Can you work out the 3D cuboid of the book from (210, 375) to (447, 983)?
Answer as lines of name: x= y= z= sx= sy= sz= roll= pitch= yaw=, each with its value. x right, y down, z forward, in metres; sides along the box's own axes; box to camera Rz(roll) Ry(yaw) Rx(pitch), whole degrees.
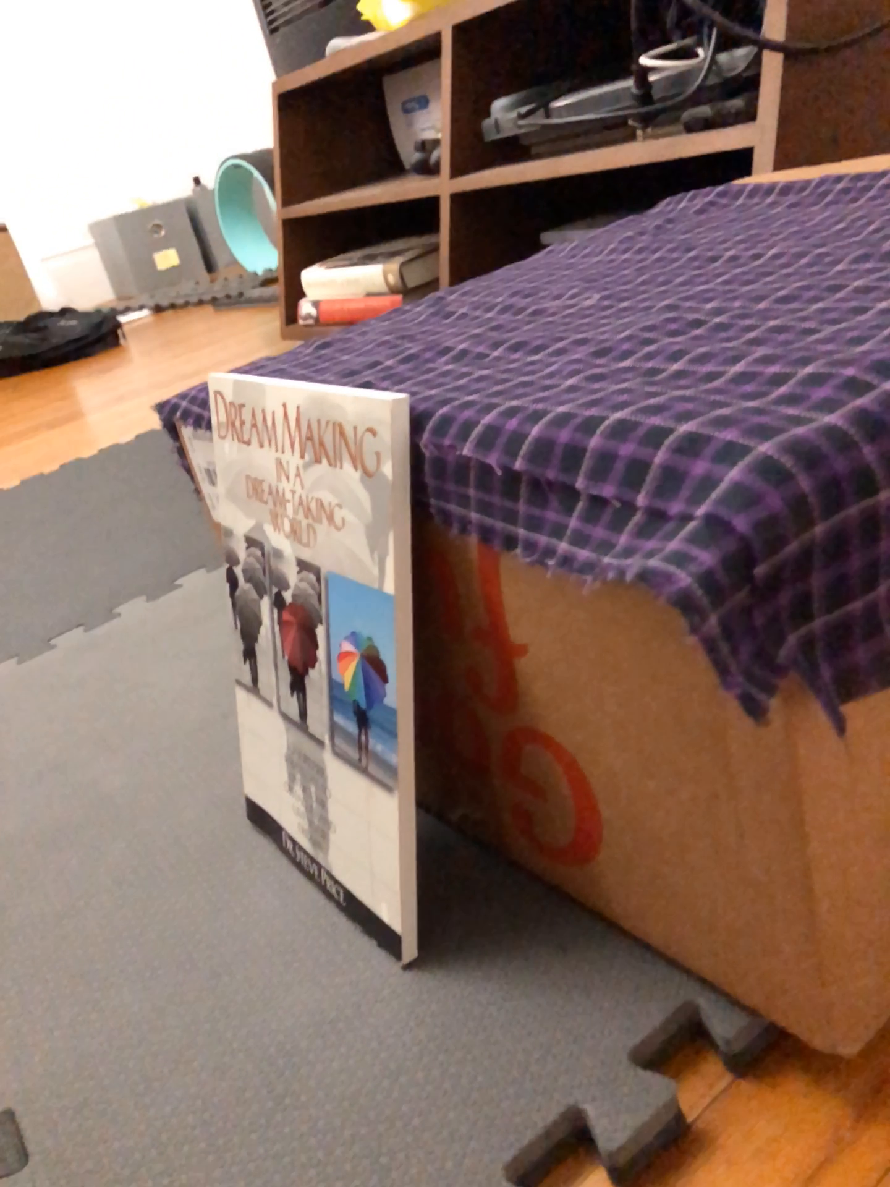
book: x=-0.052 y=0.024 z=0.409 sx=0.020 sy=0.219 sz=0.151 roll=-11 pitch=18 yaw=-31
